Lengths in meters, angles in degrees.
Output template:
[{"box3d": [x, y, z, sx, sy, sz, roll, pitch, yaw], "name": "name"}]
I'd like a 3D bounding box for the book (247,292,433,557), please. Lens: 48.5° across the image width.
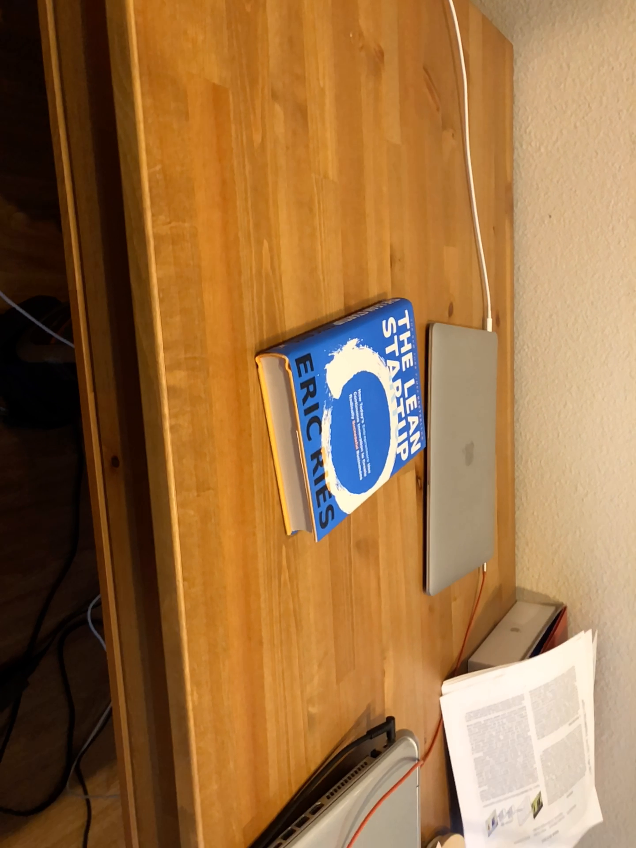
[{"box3d": [0.031, -0.012, 0.589, 0.211, 0.040, 0.160, -32, 119, -54], "name": "book"}]
